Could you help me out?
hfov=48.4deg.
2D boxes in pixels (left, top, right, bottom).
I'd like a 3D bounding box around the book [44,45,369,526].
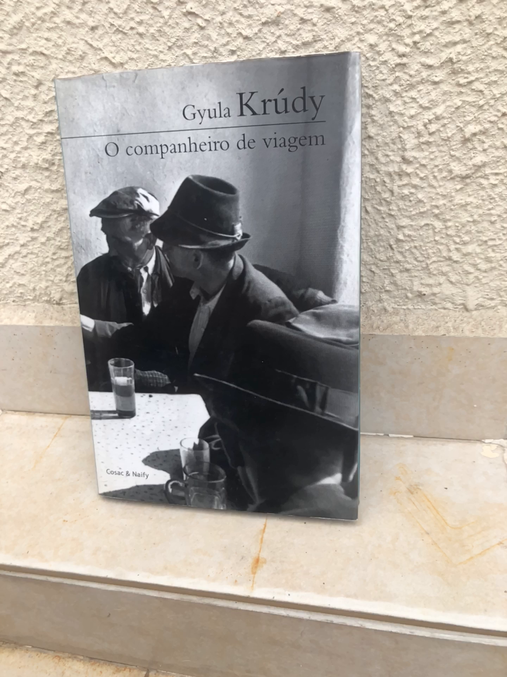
[{"bbox_3d":[-0.019,-0.016,0.263,0.137,0.205,0.019,2,15,13],"label":"book"}]
